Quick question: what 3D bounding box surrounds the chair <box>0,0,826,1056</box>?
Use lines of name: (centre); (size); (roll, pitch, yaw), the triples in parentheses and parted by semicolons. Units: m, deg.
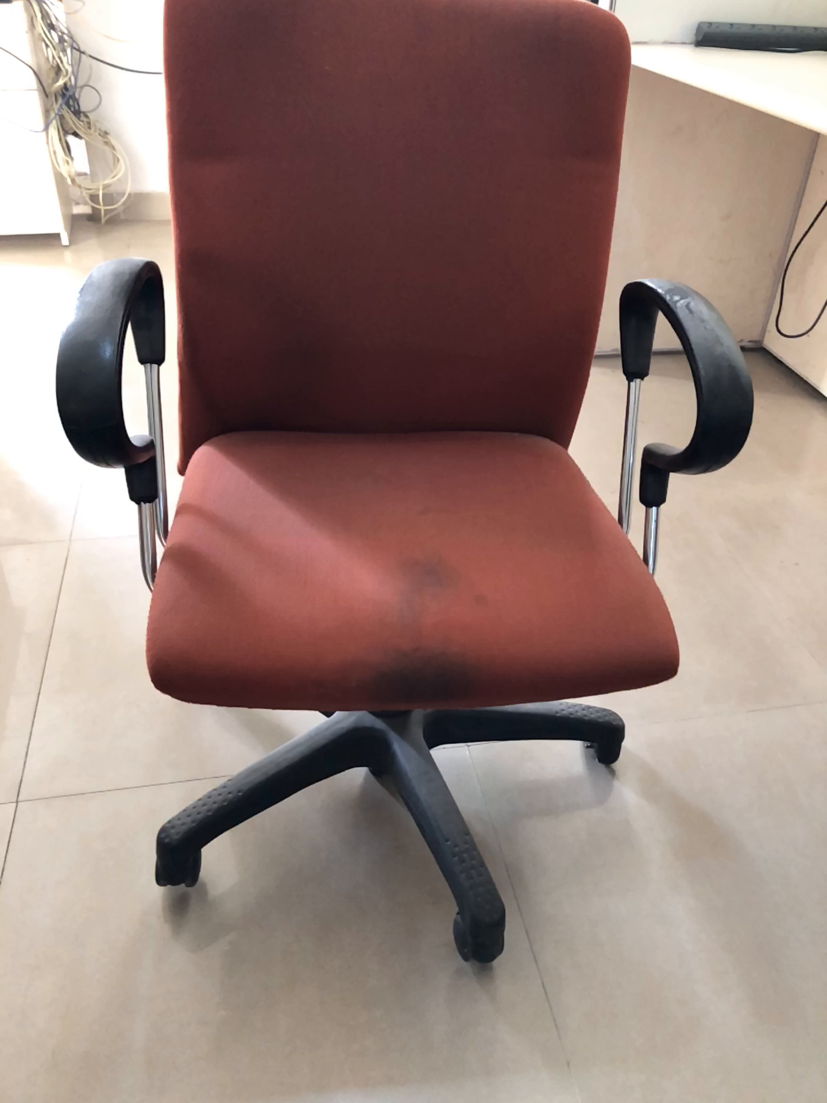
chair: (-0.027, -0.059, 1.058); (0.770, 1.043, 0.705); (-1, 35, -4)
